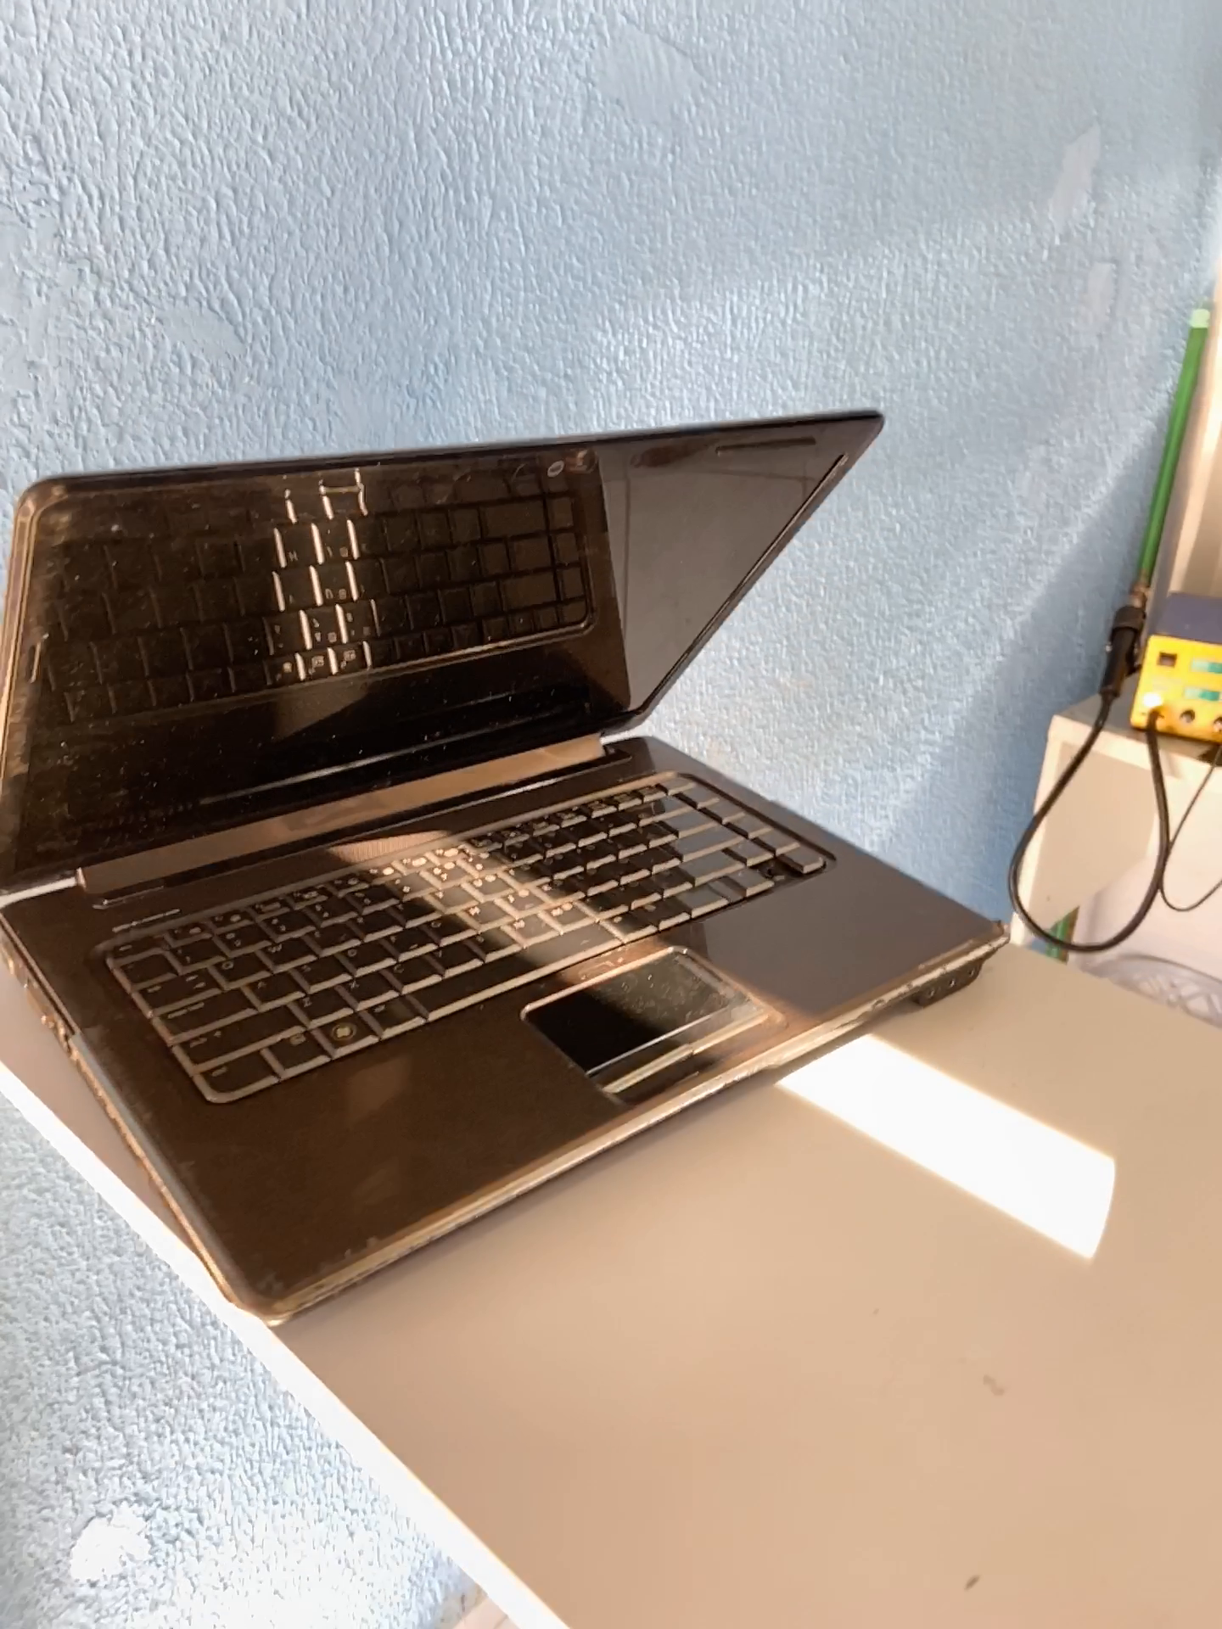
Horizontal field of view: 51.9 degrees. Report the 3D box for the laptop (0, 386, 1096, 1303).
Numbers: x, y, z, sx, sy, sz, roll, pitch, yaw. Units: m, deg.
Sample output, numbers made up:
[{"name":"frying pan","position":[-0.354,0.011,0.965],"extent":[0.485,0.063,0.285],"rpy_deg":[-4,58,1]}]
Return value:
[{"name":"laptop","position":[-0.033,-0.042,0.489],"extent":[0.345,0.190,0.245],"rpy_deg":[-17,32,-35]}]
